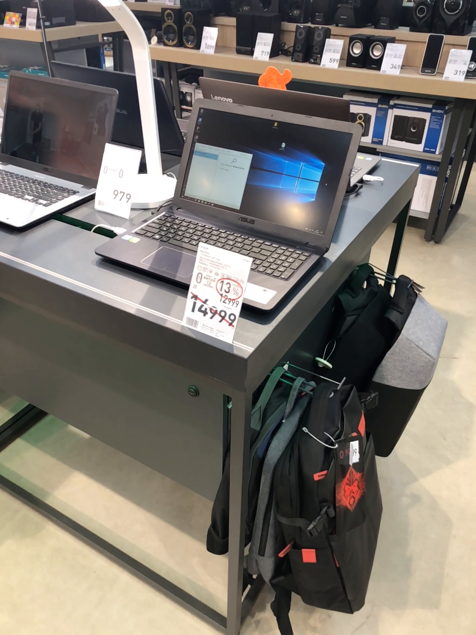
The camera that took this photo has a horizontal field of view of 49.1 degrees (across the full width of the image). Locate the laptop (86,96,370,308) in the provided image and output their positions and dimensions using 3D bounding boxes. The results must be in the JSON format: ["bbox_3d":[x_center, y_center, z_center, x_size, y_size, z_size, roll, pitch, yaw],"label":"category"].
[{"bbox_3d":[-0.007,-0.252,1.000,0.380,0.209,0.371,19,39,24],"label":"laptop"}]
